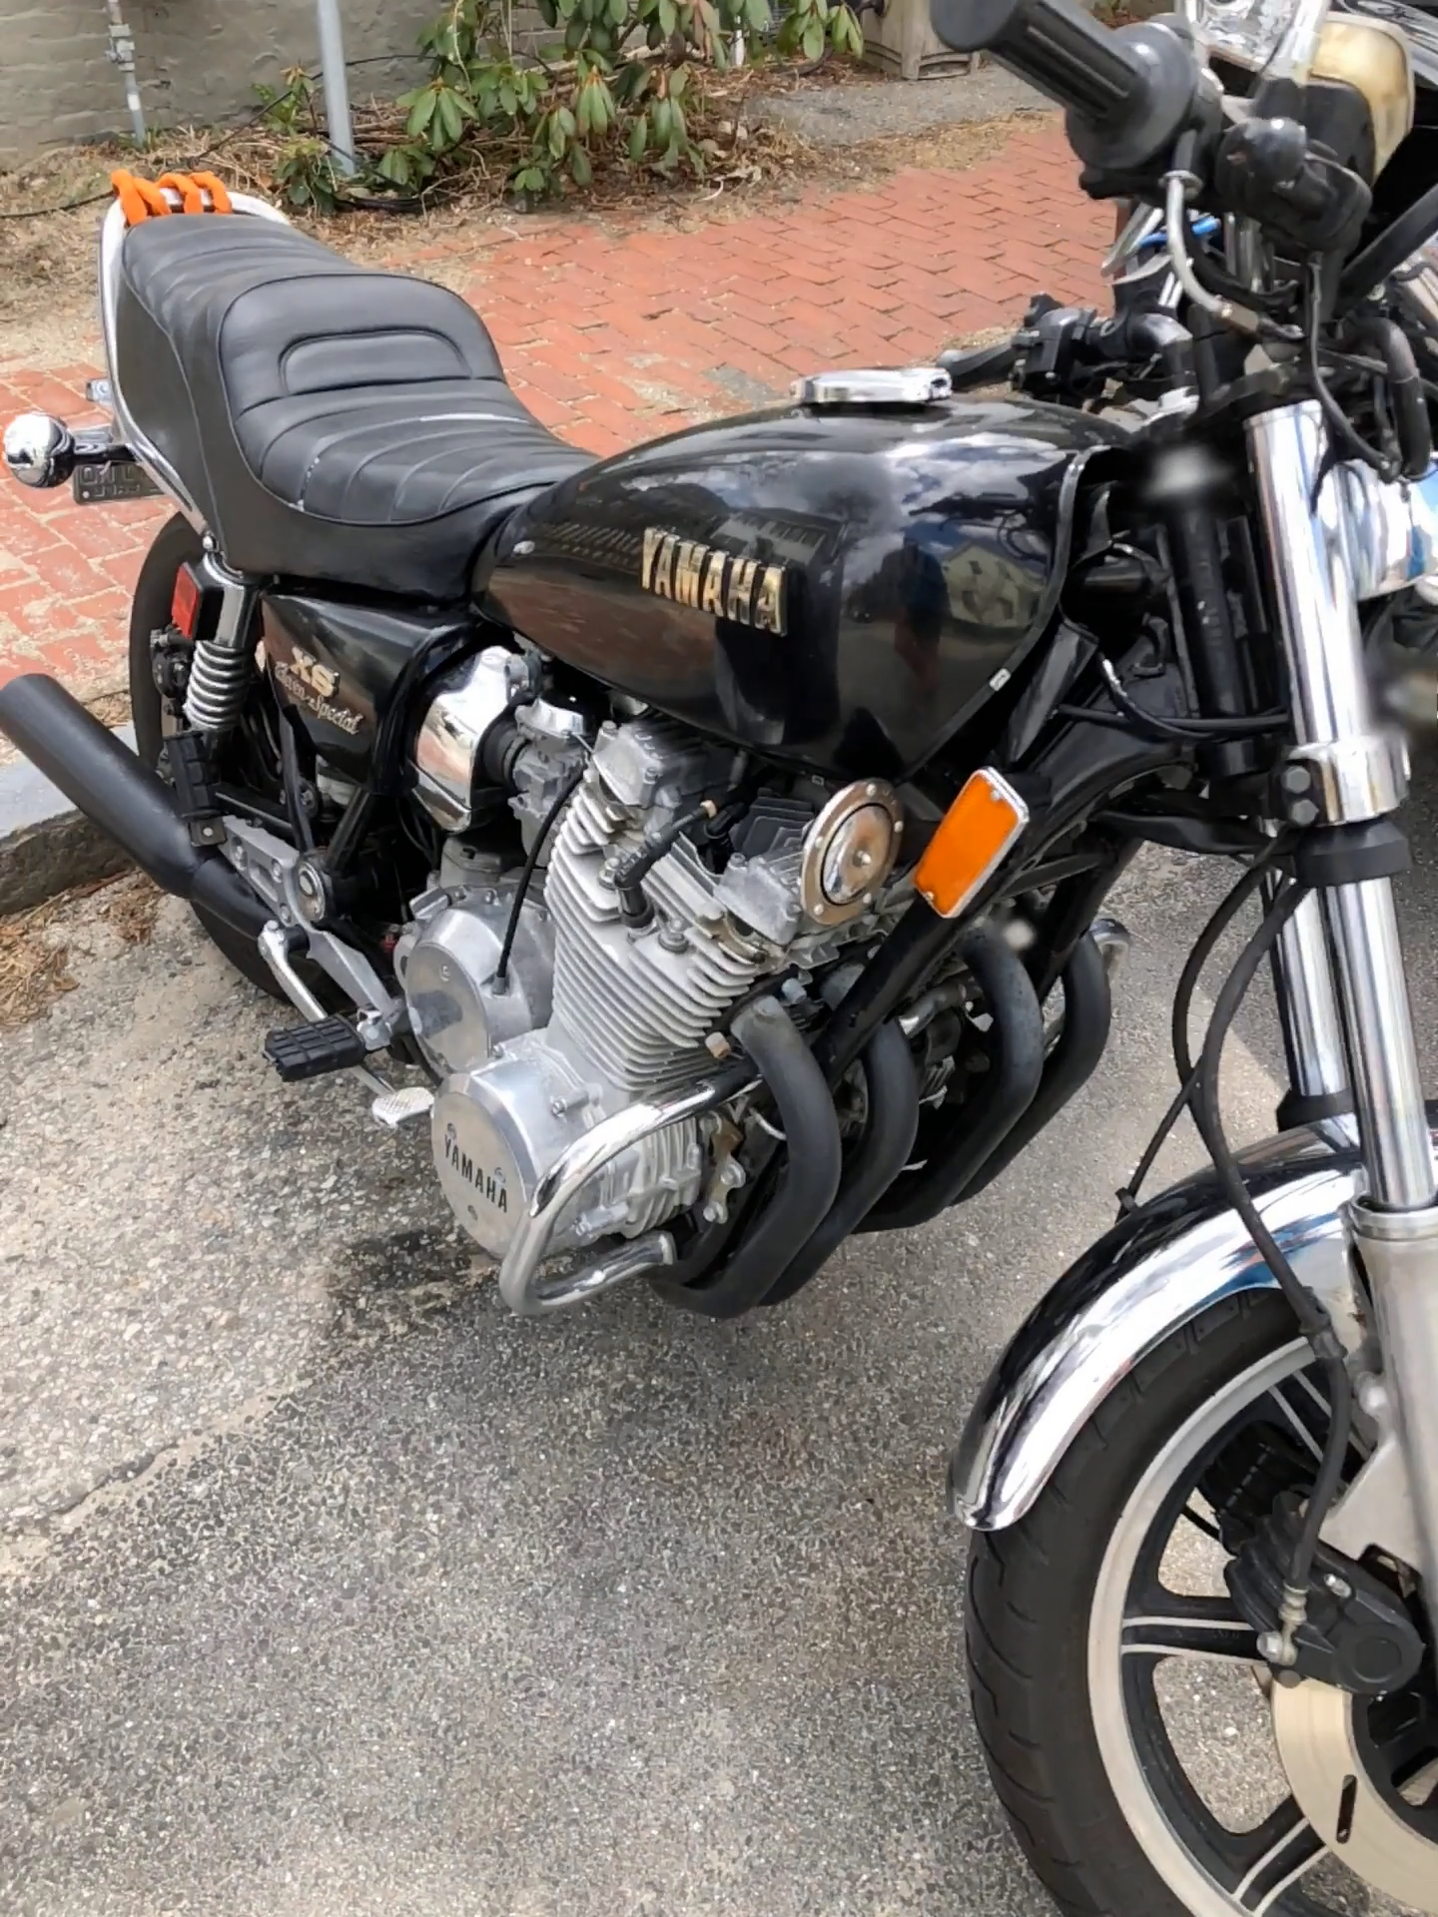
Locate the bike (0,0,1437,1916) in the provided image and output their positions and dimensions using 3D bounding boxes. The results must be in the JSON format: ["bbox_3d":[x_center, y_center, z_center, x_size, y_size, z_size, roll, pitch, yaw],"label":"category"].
[{"bbox_3d":[0.106,-0.137,1.287,1.970,1.157,0.712,32,46,31],"label":"bike"}]
